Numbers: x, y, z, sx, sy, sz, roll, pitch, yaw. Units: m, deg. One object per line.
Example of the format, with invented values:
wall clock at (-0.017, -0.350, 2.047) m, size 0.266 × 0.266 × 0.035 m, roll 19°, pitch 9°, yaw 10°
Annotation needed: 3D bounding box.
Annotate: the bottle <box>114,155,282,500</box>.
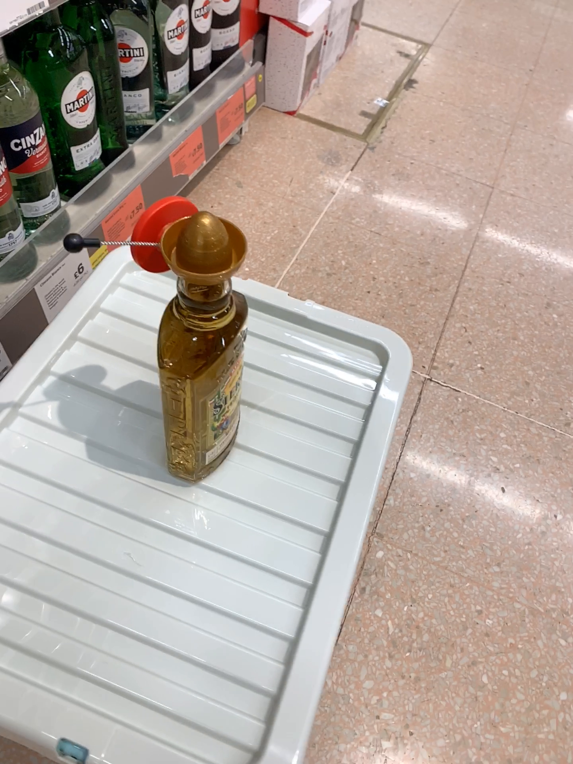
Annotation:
bottle at (-0.064, -0.020, 0.439) m, size 0.058 × 0.258 × 0.101 m, roll 21°, pitch 54°, yaw 6°
